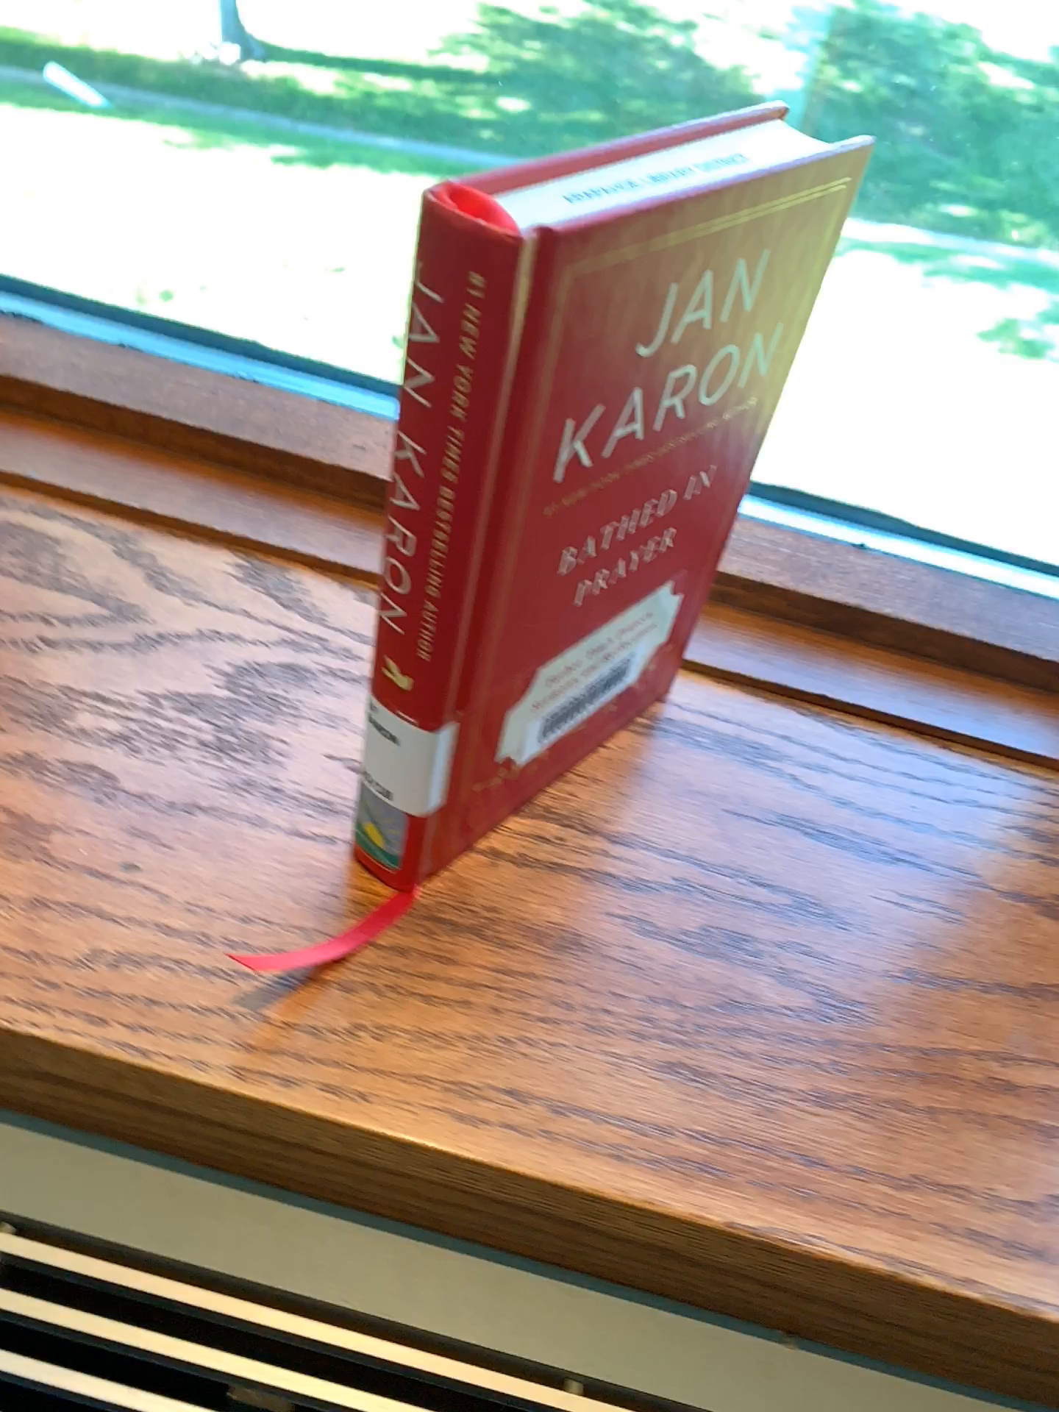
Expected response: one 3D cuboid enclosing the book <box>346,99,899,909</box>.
[{"bbox_3d":[0.018,-0.046,0.271,0.028,0.169,0.135,35,48,23],"label":"book"}]
